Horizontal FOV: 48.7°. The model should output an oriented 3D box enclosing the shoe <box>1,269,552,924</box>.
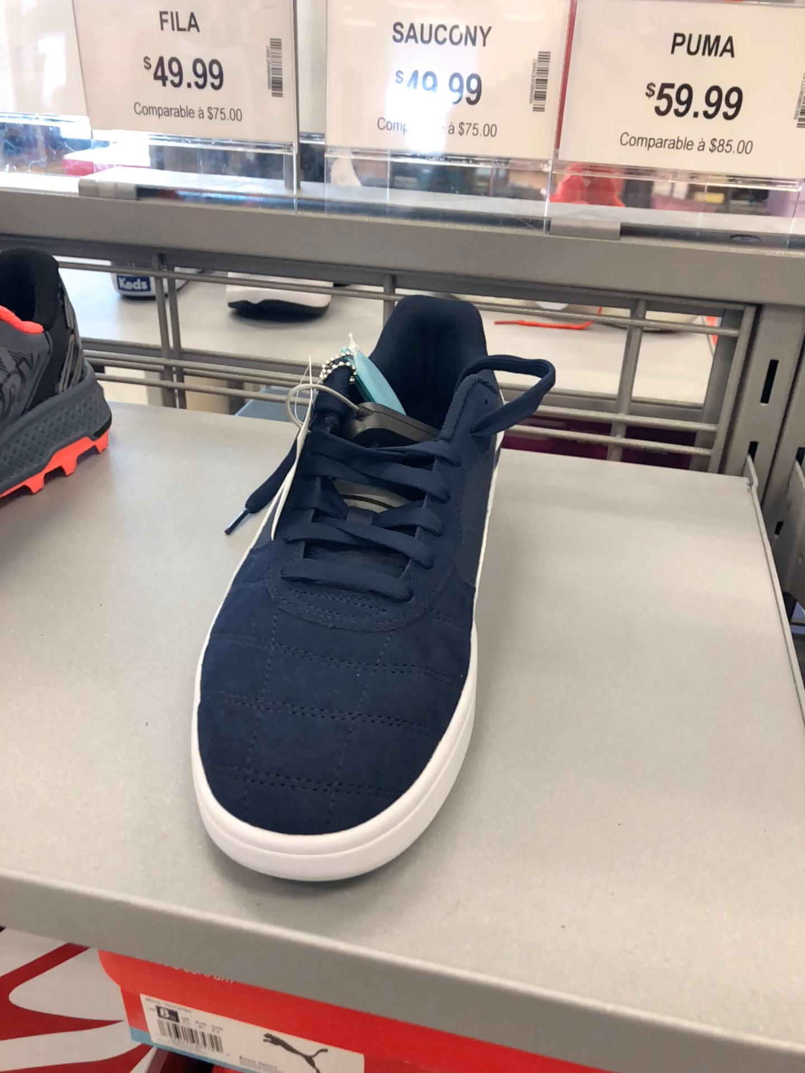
[{"bbox_3d":[-0.016,-0.008,0.336,0.119,0.119,0.242,7,30,9],"label":"shoe"}]
